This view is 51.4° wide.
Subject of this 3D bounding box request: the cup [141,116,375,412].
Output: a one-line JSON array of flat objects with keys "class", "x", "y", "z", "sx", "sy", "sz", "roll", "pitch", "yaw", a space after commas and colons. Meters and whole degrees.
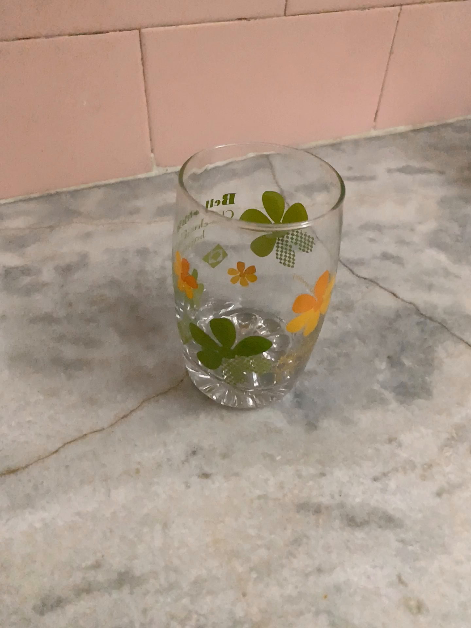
[{"class": "cup", "x": 0.007, "y": -0.018, "z": 0.207, "sx": 0.070, "sy": 0.100, "sz": 0.070, "roll": 1, "pitch": 45, "yaw": -1}]
